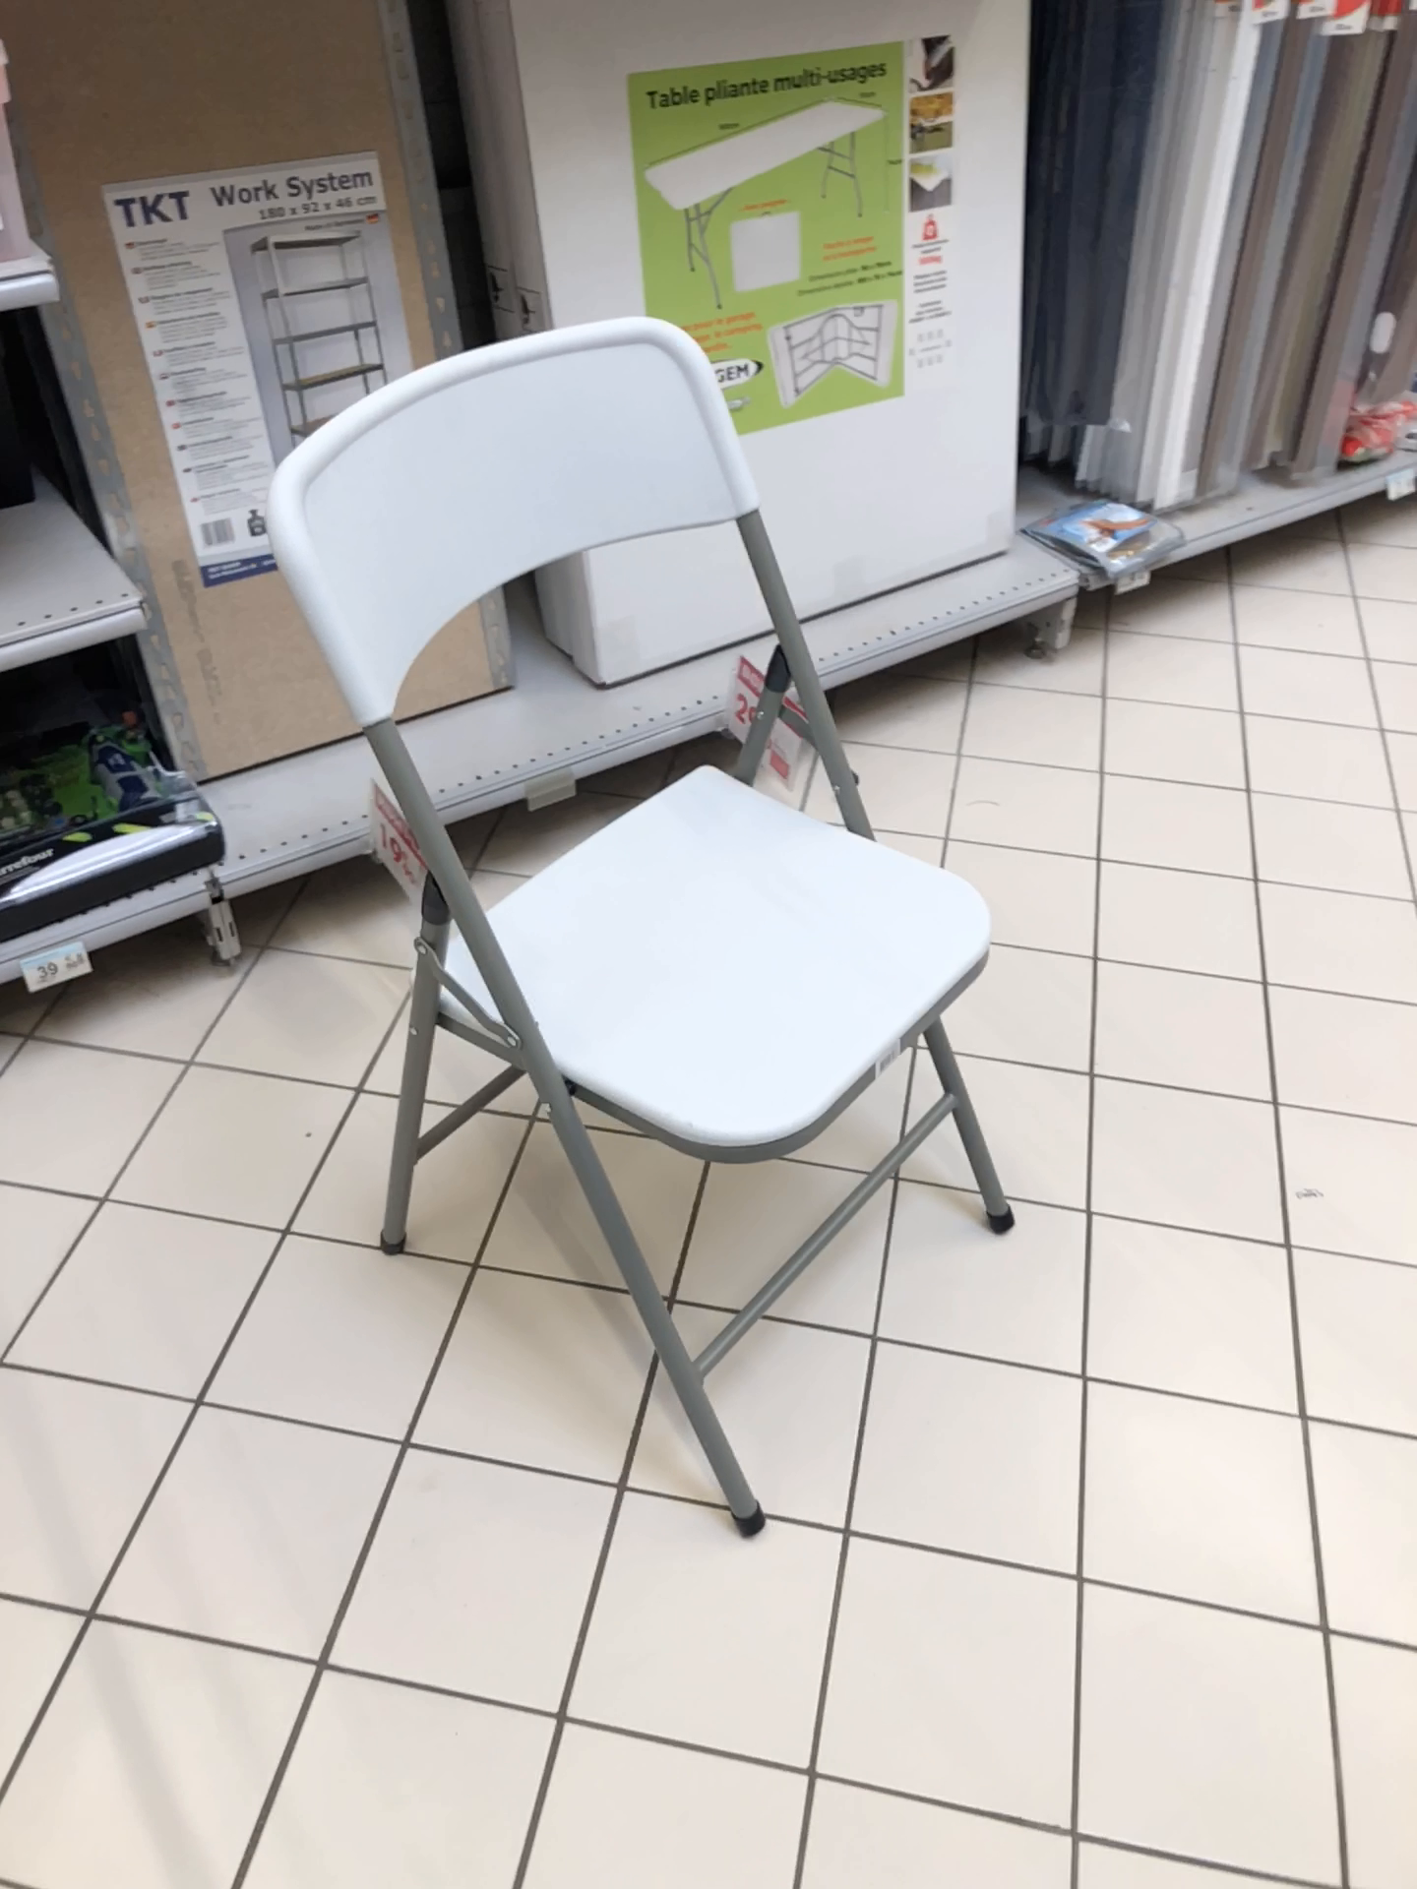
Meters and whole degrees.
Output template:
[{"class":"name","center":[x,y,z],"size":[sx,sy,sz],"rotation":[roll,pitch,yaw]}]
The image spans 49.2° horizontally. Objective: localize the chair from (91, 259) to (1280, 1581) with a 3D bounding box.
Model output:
[{"class":"chair","center":[-0.008,-0.039,1.256],"size":[0.560,0.745,0.543],"rotation":[28,48,28]}]
